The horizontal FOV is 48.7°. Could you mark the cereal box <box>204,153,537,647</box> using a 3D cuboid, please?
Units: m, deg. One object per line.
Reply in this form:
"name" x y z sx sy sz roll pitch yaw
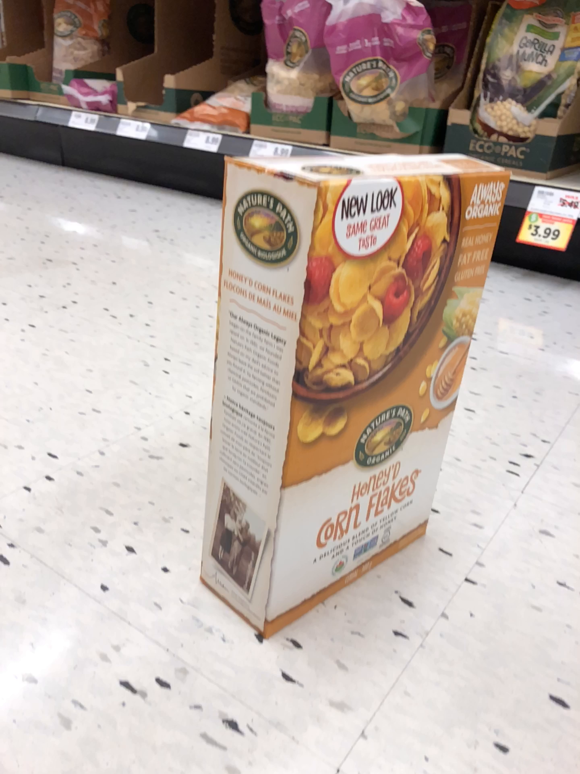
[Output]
"cereal box" 0.040 0.000 0.358 0.161 0.239 0.060 -18 35 -40
